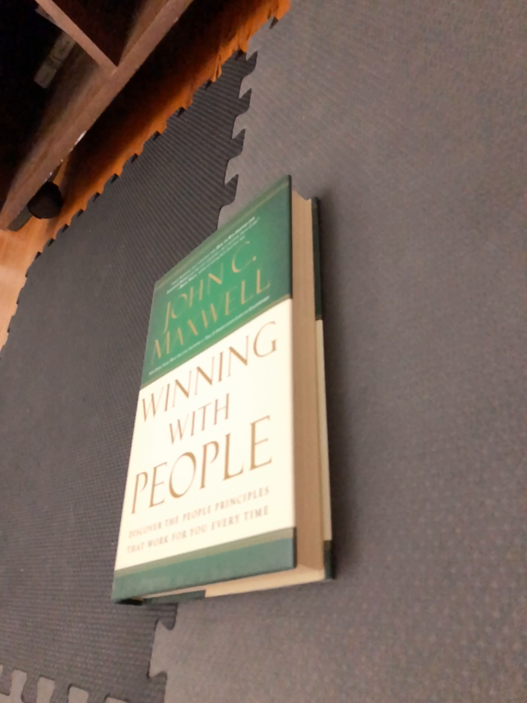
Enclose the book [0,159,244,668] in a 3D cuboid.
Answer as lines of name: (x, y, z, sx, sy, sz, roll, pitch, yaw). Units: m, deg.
book: (-0.099, 0.039, 0.383, 0.200, 0.030, 0.291, -27, 49, 43)
